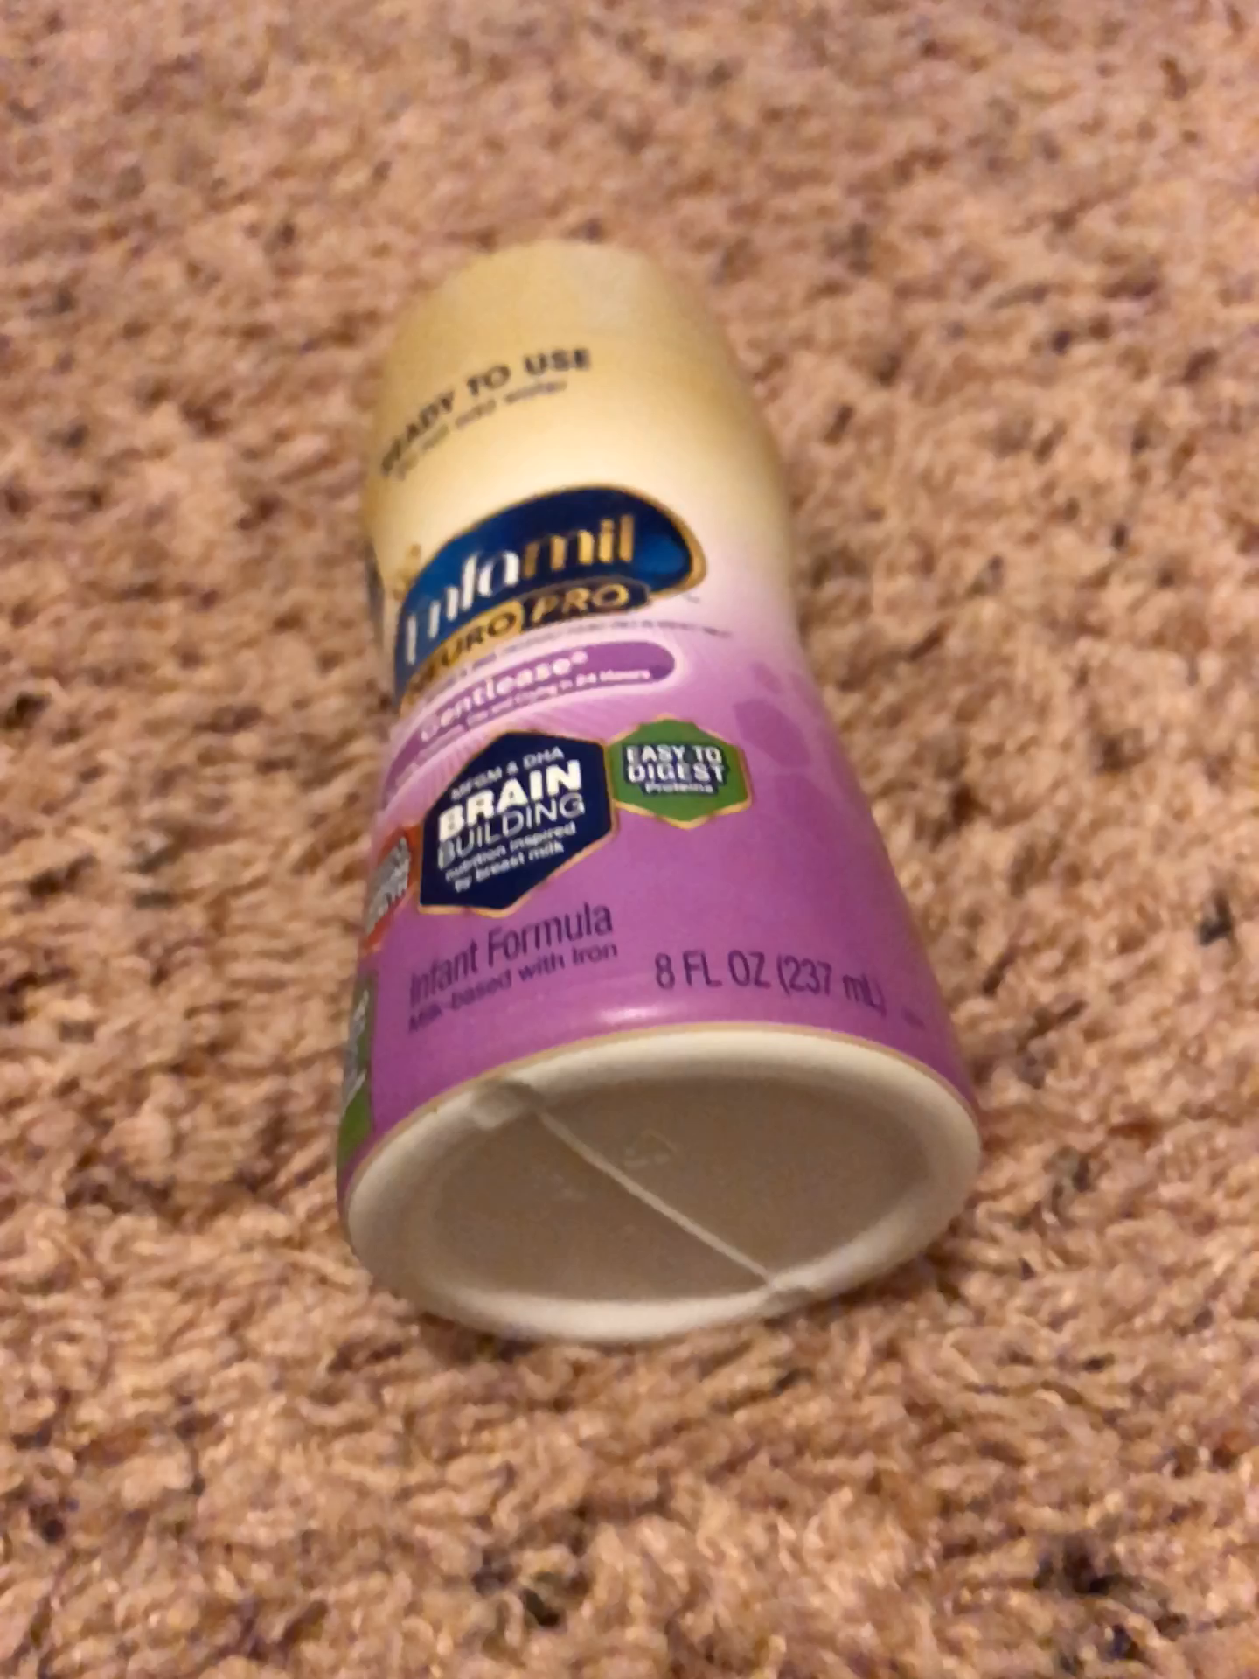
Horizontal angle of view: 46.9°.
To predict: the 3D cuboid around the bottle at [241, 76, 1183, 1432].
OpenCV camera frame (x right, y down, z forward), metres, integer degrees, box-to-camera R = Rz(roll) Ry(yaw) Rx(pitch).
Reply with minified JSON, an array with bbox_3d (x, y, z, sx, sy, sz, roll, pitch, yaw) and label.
[{"bbox_3d":[0.001,-0.019,0.178,0.060,0.060,0.150,-34,43,27],"label":"bottle"}]
